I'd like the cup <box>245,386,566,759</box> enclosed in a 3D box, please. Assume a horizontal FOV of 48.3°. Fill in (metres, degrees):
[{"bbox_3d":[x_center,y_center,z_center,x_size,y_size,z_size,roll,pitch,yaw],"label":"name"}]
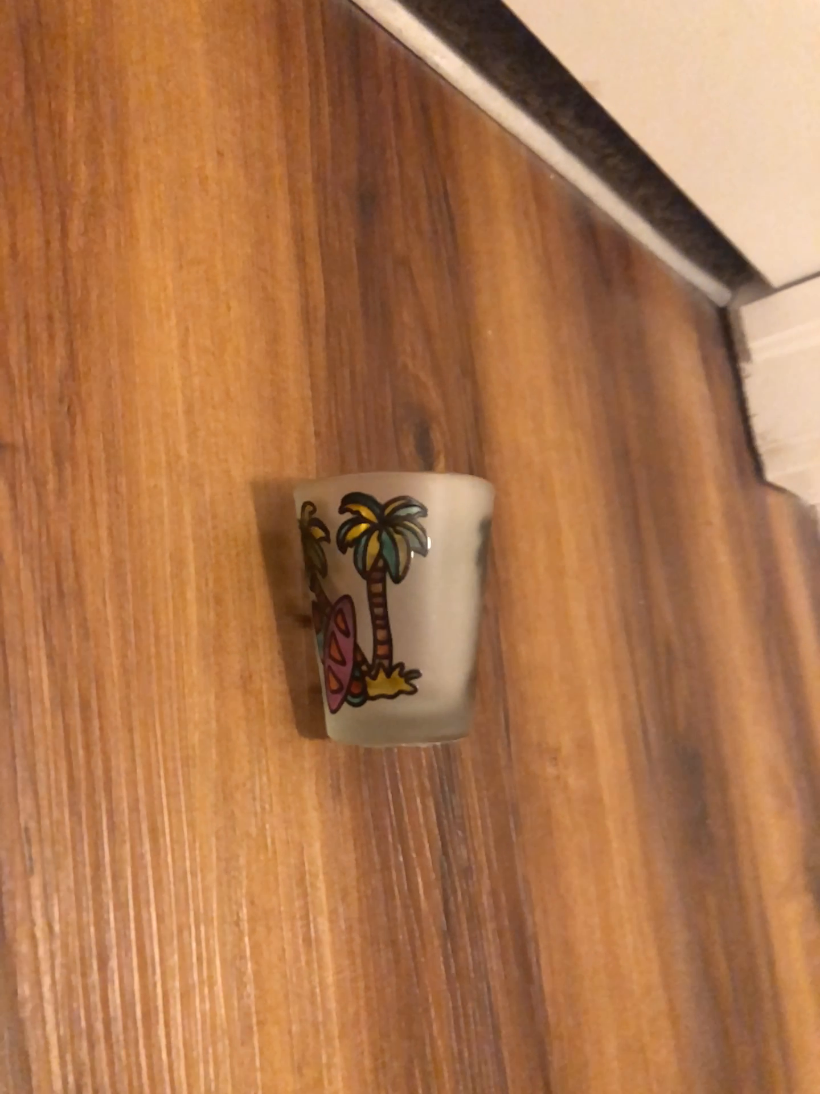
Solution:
[{"bbox_3d":[-0.001,0.009,0.208,0.050,0.044,0.070,8,72,-51],"label":"cup"}]
